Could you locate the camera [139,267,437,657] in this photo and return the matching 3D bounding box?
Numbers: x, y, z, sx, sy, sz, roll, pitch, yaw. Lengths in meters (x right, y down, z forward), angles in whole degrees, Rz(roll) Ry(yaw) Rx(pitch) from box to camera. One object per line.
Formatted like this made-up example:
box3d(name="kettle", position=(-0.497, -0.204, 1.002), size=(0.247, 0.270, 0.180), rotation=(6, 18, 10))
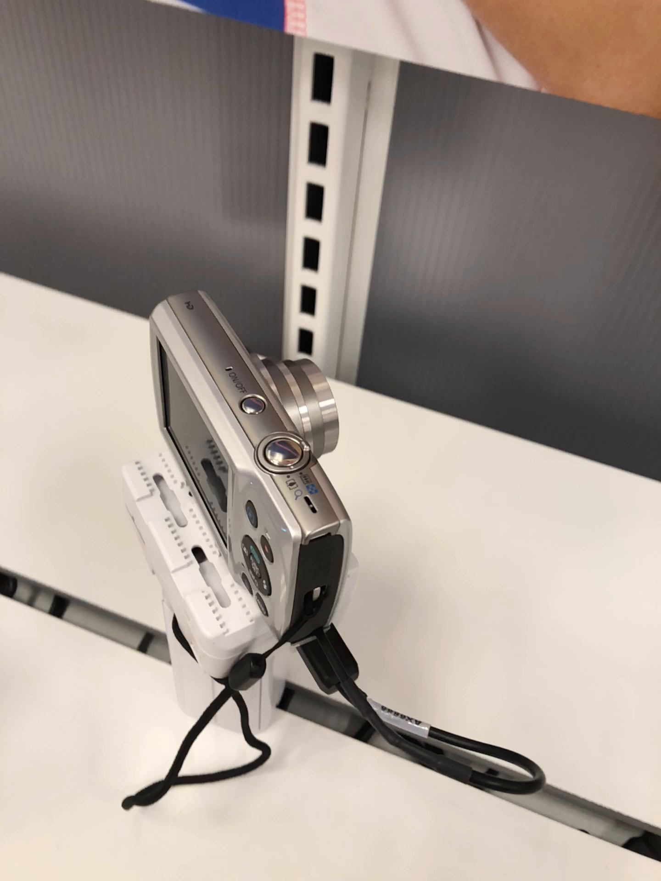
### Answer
box3d(name="camera", position=(-0.017, 0.003, 0.211), size=(0.042, 0.055, 0.090), rotation=(-19, 52, -21))
